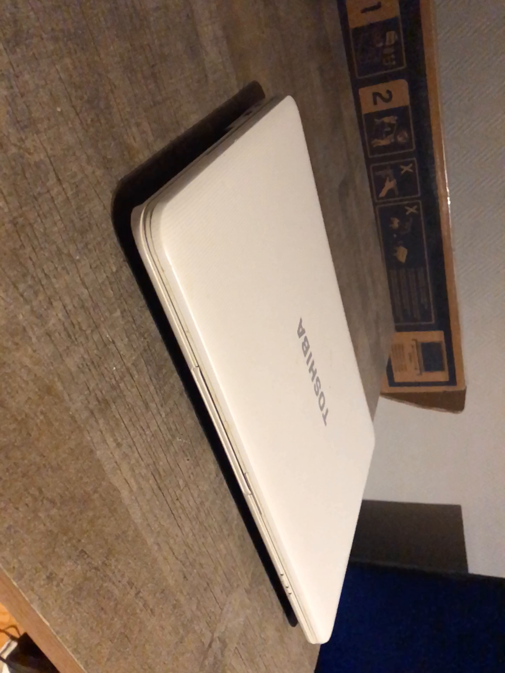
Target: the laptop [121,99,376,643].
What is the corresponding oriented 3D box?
[{"bbox_3d":[0.036,0.034,0.455,0.228,0.020,0.377,-59,138,-48],"label":"laptop"}]
